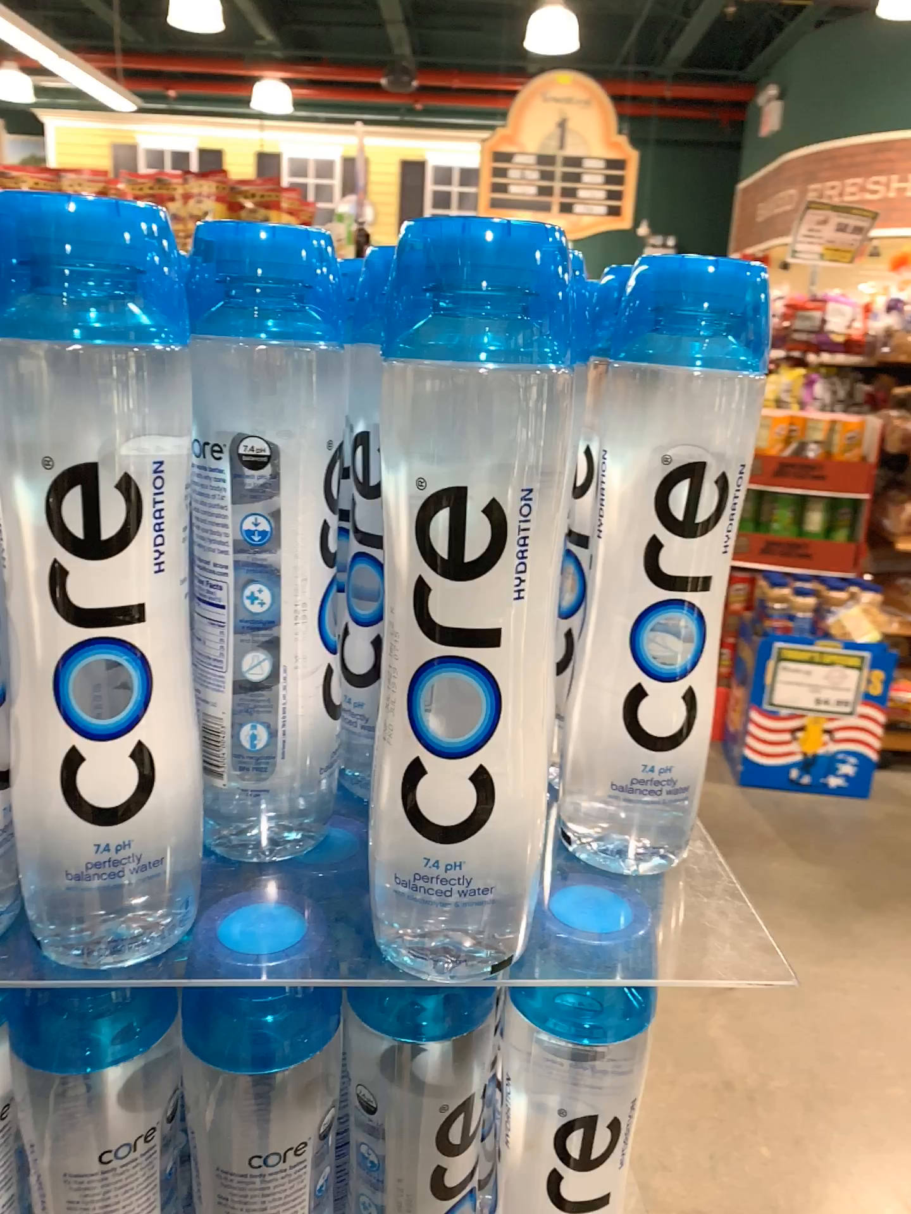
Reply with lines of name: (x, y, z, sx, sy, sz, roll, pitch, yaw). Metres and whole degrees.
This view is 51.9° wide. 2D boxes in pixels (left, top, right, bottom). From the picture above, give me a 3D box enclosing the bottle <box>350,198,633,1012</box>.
bottle: (0.010, 0.002, 0.371, 0.080, 0.289, 0.090, 4, 15, 4)
